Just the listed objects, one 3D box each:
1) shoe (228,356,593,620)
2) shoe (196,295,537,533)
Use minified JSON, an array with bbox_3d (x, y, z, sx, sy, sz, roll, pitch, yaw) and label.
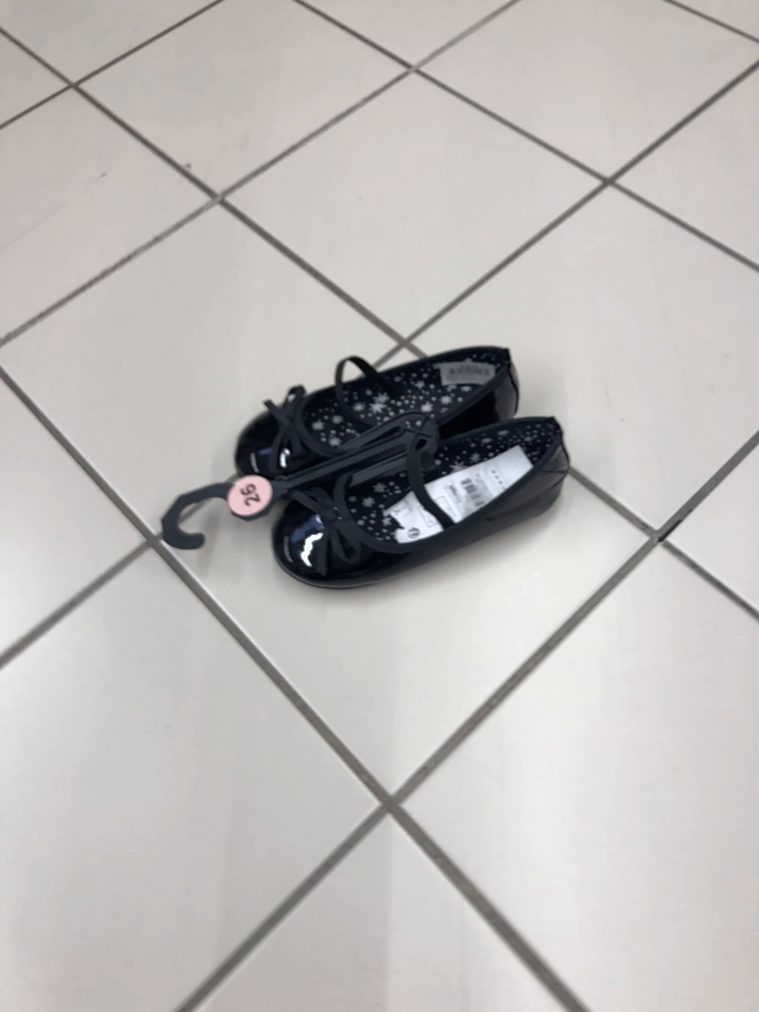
[{"bbox_3d":[0.016,-0.010,0.454,0.171,0.055,0.075,-19,61,-5],"label":"shoe"},{"bbox_3d":[-0.007,-0.053,0.483,0.173,0.059,0.073,-16,60,-4],"label":"shoe"}]
